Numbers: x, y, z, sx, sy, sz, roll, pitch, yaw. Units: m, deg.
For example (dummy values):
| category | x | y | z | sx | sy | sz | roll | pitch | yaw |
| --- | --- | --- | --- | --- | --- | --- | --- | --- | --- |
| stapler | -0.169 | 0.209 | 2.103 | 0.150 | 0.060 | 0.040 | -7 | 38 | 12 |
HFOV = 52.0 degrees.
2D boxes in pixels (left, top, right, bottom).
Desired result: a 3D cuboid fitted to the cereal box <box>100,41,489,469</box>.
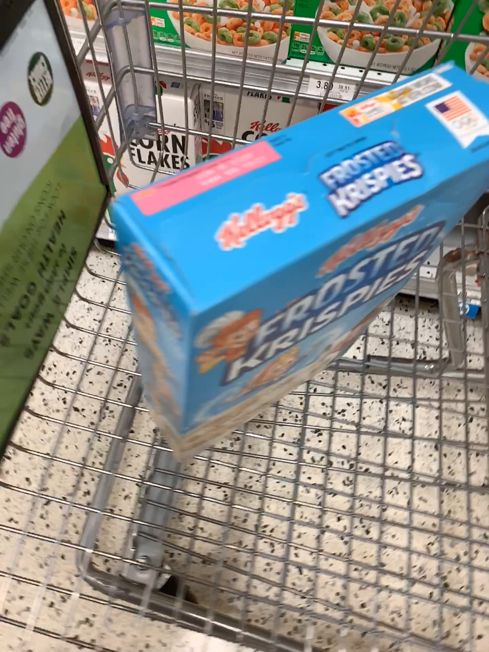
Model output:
| category | x | y | z | sx | sy | sz | roll | pitch | yaw |
| --- | --- | --- | --- | --- | --- | --- | --- | --- | --- |
| cereal box | 0.029 | -0.004 | 0.344 | 0.201 | 0.318 | 0.060 | -29 | 73 | -18 |
